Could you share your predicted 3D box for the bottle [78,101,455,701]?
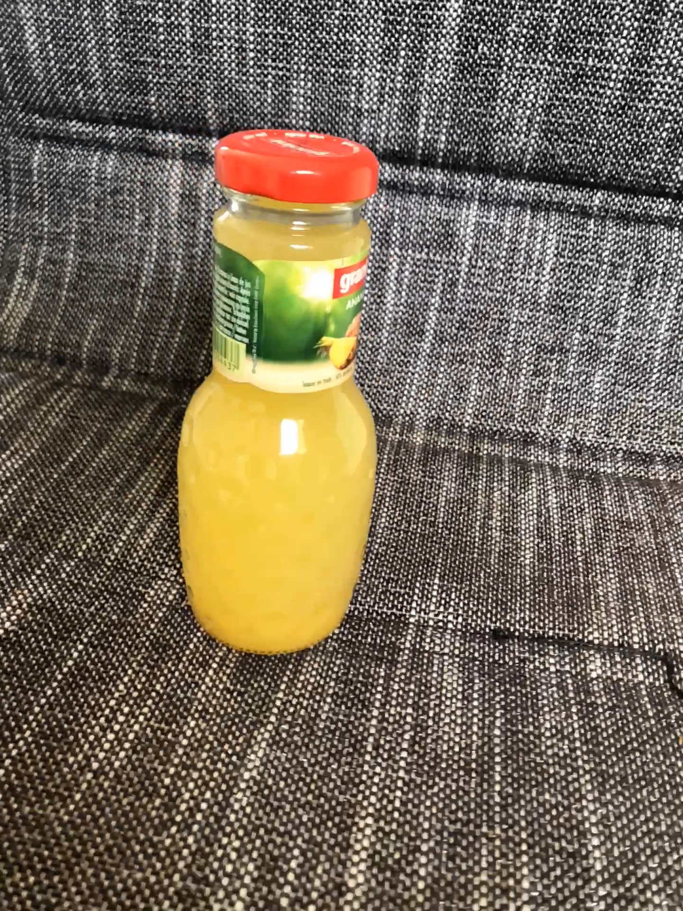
[{"bbox_3d":[-0.020,-0.015,0.224,0.070,0.149,0.070,5,31,-3],"label":"bottle"}]
